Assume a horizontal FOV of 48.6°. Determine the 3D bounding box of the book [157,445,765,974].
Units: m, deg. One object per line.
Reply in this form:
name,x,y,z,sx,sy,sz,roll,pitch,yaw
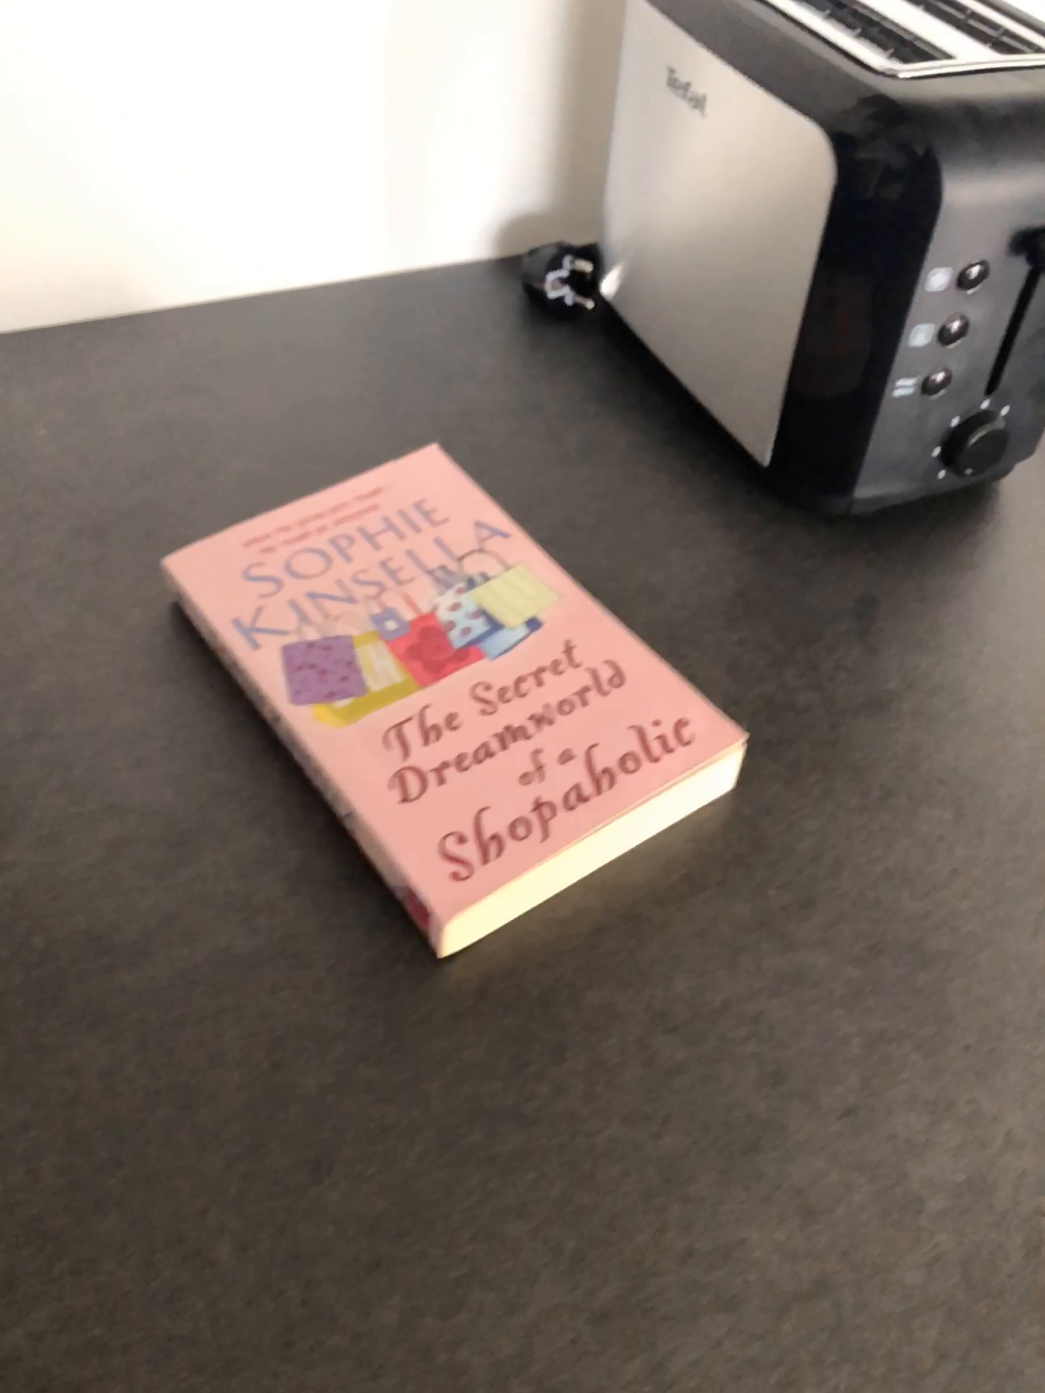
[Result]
book,-0.029,-0.011,0.432,0.131,0.030,0.200,-27,55,-27
